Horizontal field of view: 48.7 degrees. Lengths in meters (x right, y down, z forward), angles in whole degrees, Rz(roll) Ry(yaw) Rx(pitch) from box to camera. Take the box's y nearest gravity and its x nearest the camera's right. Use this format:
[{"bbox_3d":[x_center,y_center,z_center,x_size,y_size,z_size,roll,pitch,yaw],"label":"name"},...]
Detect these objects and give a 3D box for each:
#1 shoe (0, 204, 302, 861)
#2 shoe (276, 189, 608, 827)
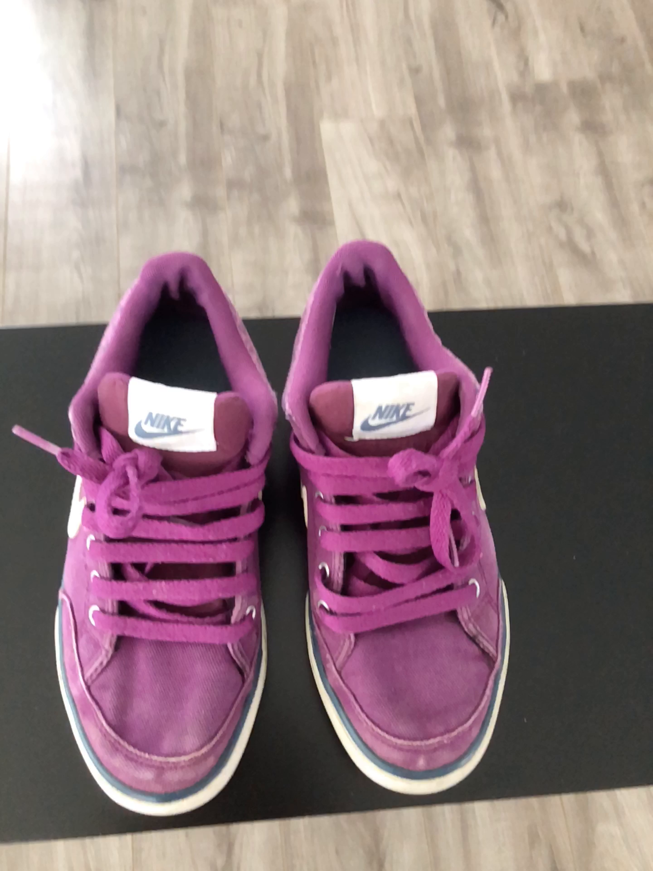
[{"bbox_3d":[-0.067,0.032,0.310,0.100,0.100,0.240,-2,69,-4],"label":"shoe"},{"bbox_3d":[0.032,0.025,0.325,0.100,0.100,0.250,-2,69,-4],"label":"shoe"}]
